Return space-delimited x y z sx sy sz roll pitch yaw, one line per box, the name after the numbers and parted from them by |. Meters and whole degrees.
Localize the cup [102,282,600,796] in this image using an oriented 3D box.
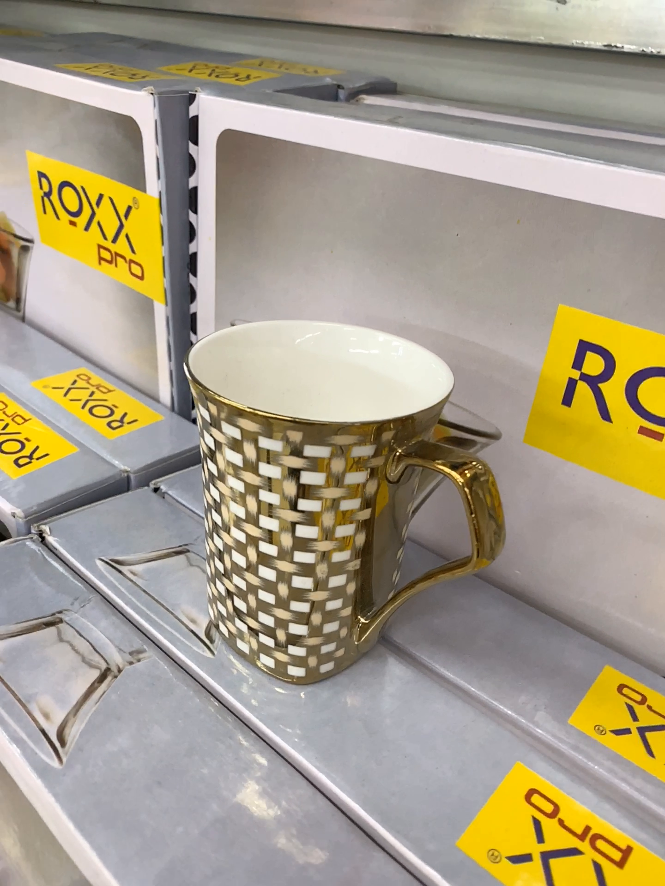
0.001 0.016 0.210 0.110 0.089 0.080 25 35 30 | cup
